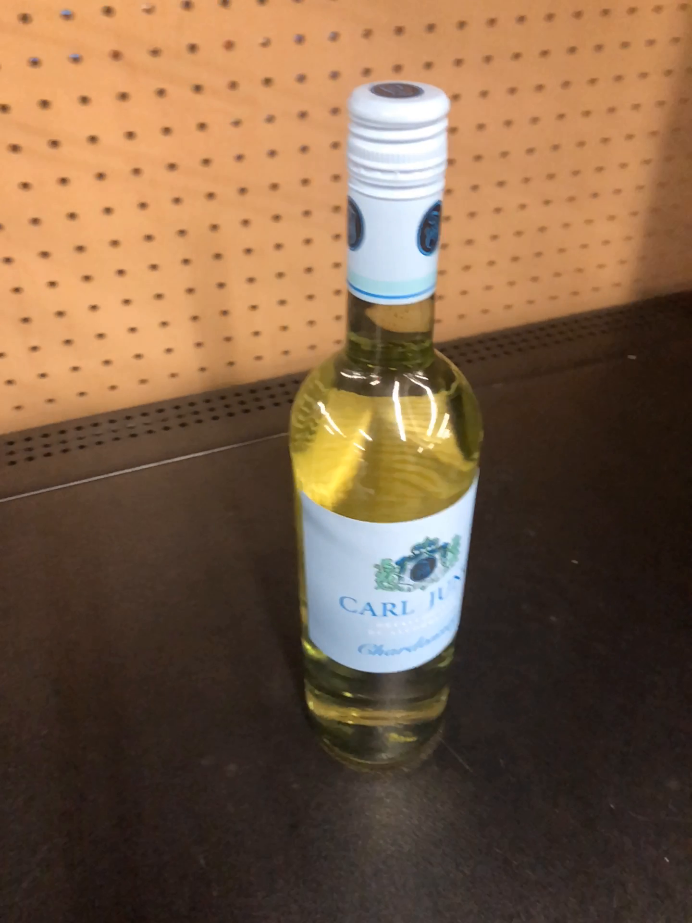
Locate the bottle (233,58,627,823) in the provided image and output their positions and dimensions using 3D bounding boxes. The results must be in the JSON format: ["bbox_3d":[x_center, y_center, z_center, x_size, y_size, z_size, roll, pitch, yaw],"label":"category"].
[{"bbox_3d":[0.020,0.022,0.316,0.080,0.318,0.080,0,40,0],"label":"bottle"}]
